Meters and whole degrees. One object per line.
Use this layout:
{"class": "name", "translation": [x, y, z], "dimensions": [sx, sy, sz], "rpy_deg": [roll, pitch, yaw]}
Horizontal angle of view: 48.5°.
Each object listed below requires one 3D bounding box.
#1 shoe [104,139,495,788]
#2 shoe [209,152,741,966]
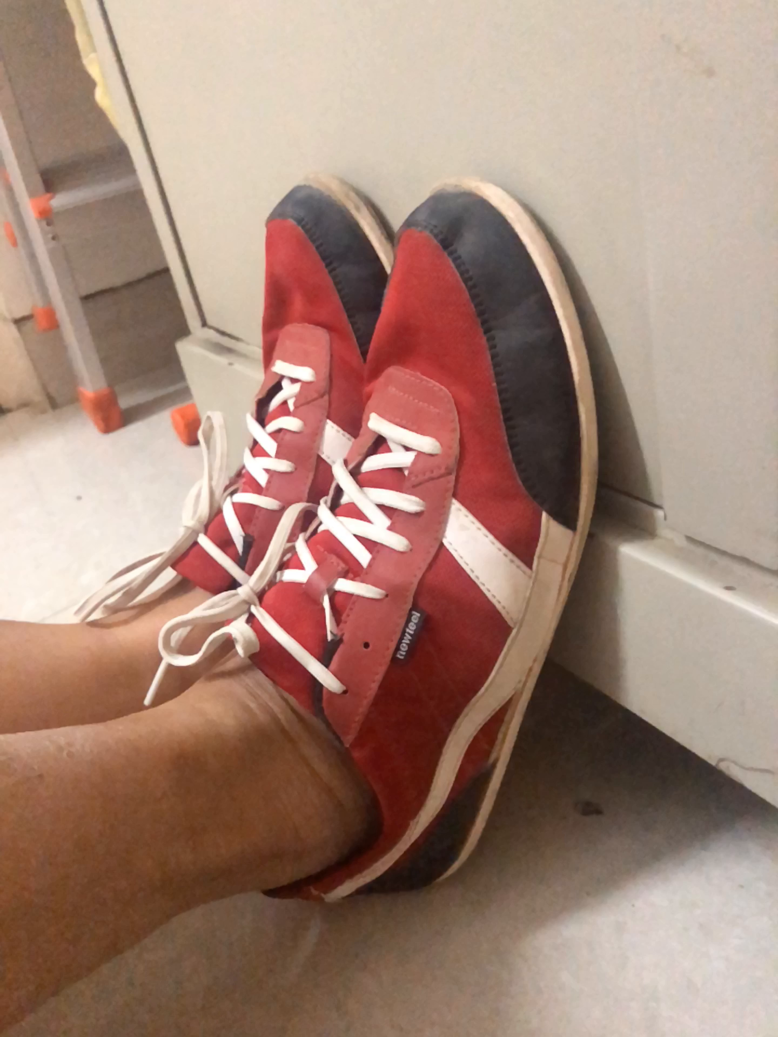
{"class": "shoe", "translation": [-0.040, -0.024, 0.364], "dimensions": [0.100, 0.230, 0.080], "rpy_deg": [15, 7, 41]}
{"class": "shoe", "translation": [0.020, 0.010, 0.312], "dimensions": [0.080, 0.249, 0.101], "rpy_deg": [7, 13, -38]}
